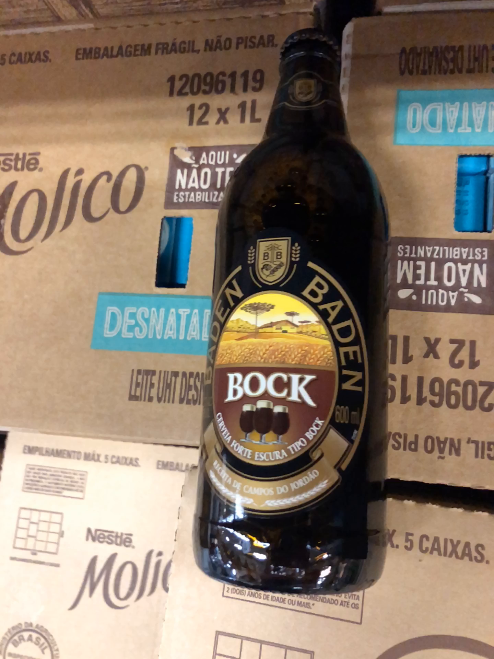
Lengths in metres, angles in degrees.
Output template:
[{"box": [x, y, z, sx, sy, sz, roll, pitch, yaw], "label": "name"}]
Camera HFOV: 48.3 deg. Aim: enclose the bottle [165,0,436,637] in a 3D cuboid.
[{"box": [0.026, -0.020, 0.218, 0.080, 0.070, 0.230, 0, 79, 12], "label": "bottle"}]
